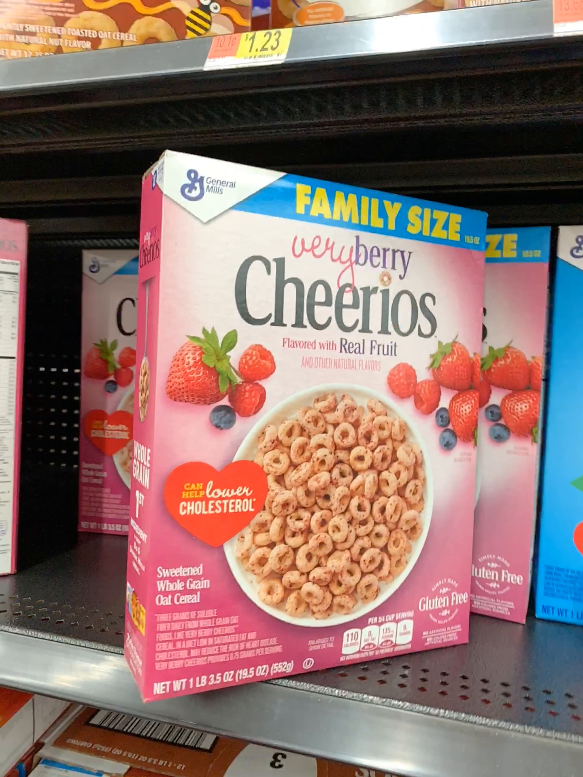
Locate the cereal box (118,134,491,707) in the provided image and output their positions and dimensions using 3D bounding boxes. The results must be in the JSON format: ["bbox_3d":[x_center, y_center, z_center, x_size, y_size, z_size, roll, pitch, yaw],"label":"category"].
[{"bbox_3d":[0.015,0.021,0.412,0.240,0.320,0.060,2,0,-24],"label":"cereal box"}]
